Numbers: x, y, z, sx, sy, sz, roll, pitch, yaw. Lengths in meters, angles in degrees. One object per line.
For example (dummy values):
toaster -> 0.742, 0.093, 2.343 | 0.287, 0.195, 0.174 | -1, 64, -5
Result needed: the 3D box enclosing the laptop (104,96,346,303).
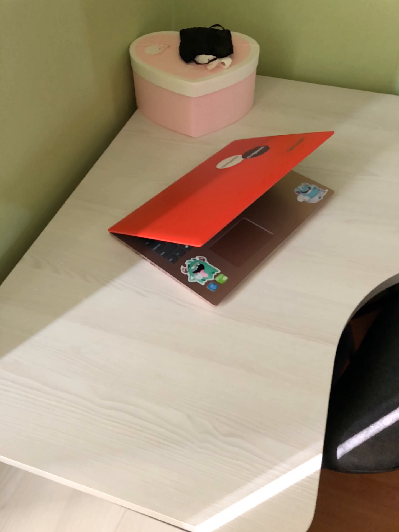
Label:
laptop -> 0.056, -0.142, 0.798 | 0.232, 0.112, 0.367 | 34, 57, 24
